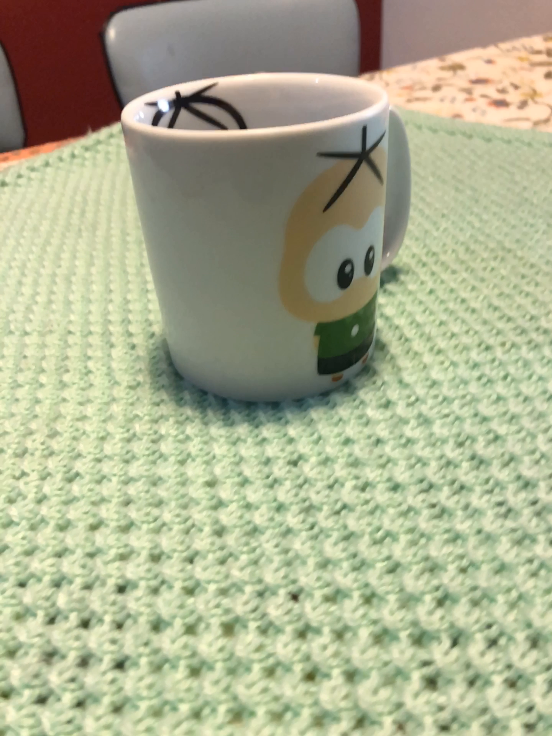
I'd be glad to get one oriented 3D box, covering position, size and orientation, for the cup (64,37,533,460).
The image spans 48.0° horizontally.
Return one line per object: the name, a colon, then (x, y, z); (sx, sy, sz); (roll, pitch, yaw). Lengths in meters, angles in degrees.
cup: (0.013, -0.057, 0.234); (0.130, 0.099, 0.090); (-30, 43, -31)
